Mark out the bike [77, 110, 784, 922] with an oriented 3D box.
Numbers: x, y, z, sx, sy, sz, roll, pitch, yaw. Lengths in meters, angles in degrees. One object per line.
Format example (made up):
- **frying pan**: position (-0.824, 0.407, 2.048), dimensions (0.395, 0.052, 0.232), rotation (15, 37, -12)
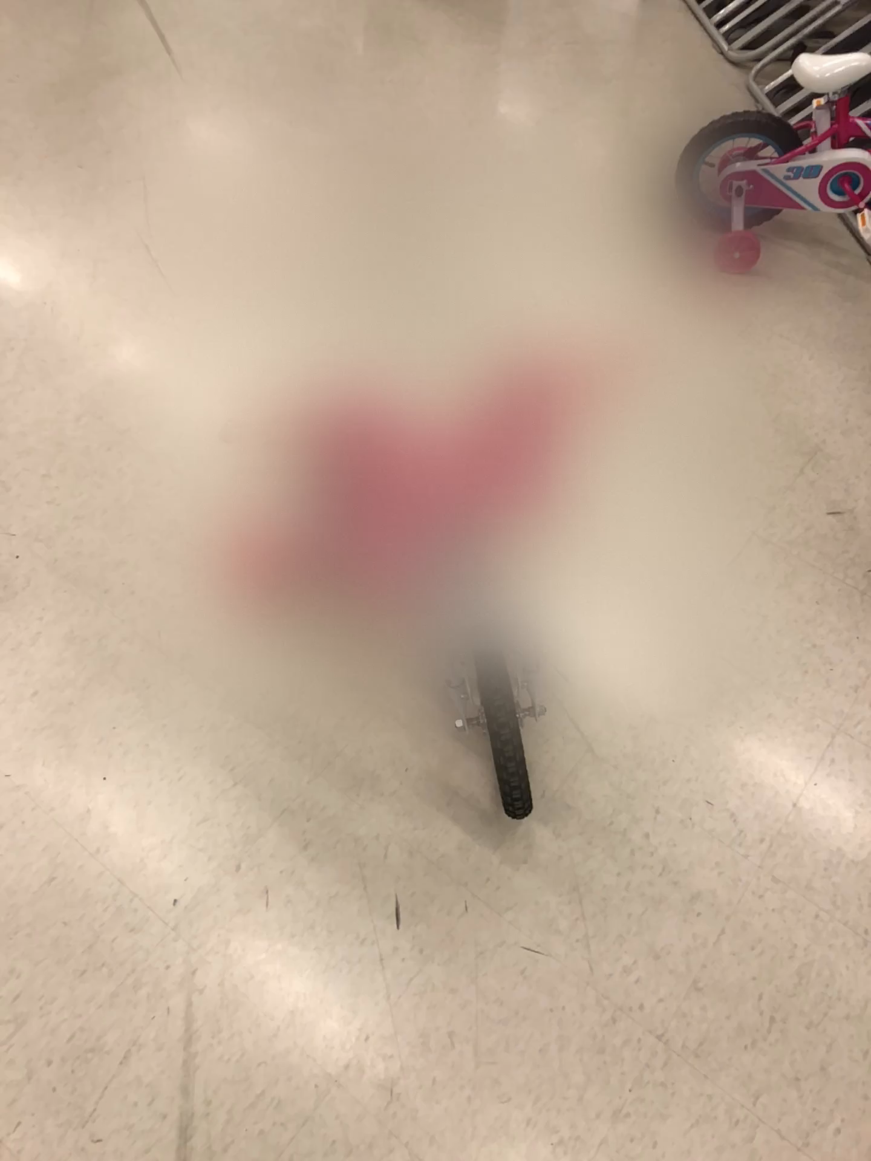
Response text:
- **bike**: position (-0.072, -0.099, 1.328), dimensions (0.510, 0.680, 0.776), rotation (-19, 56, -18)
